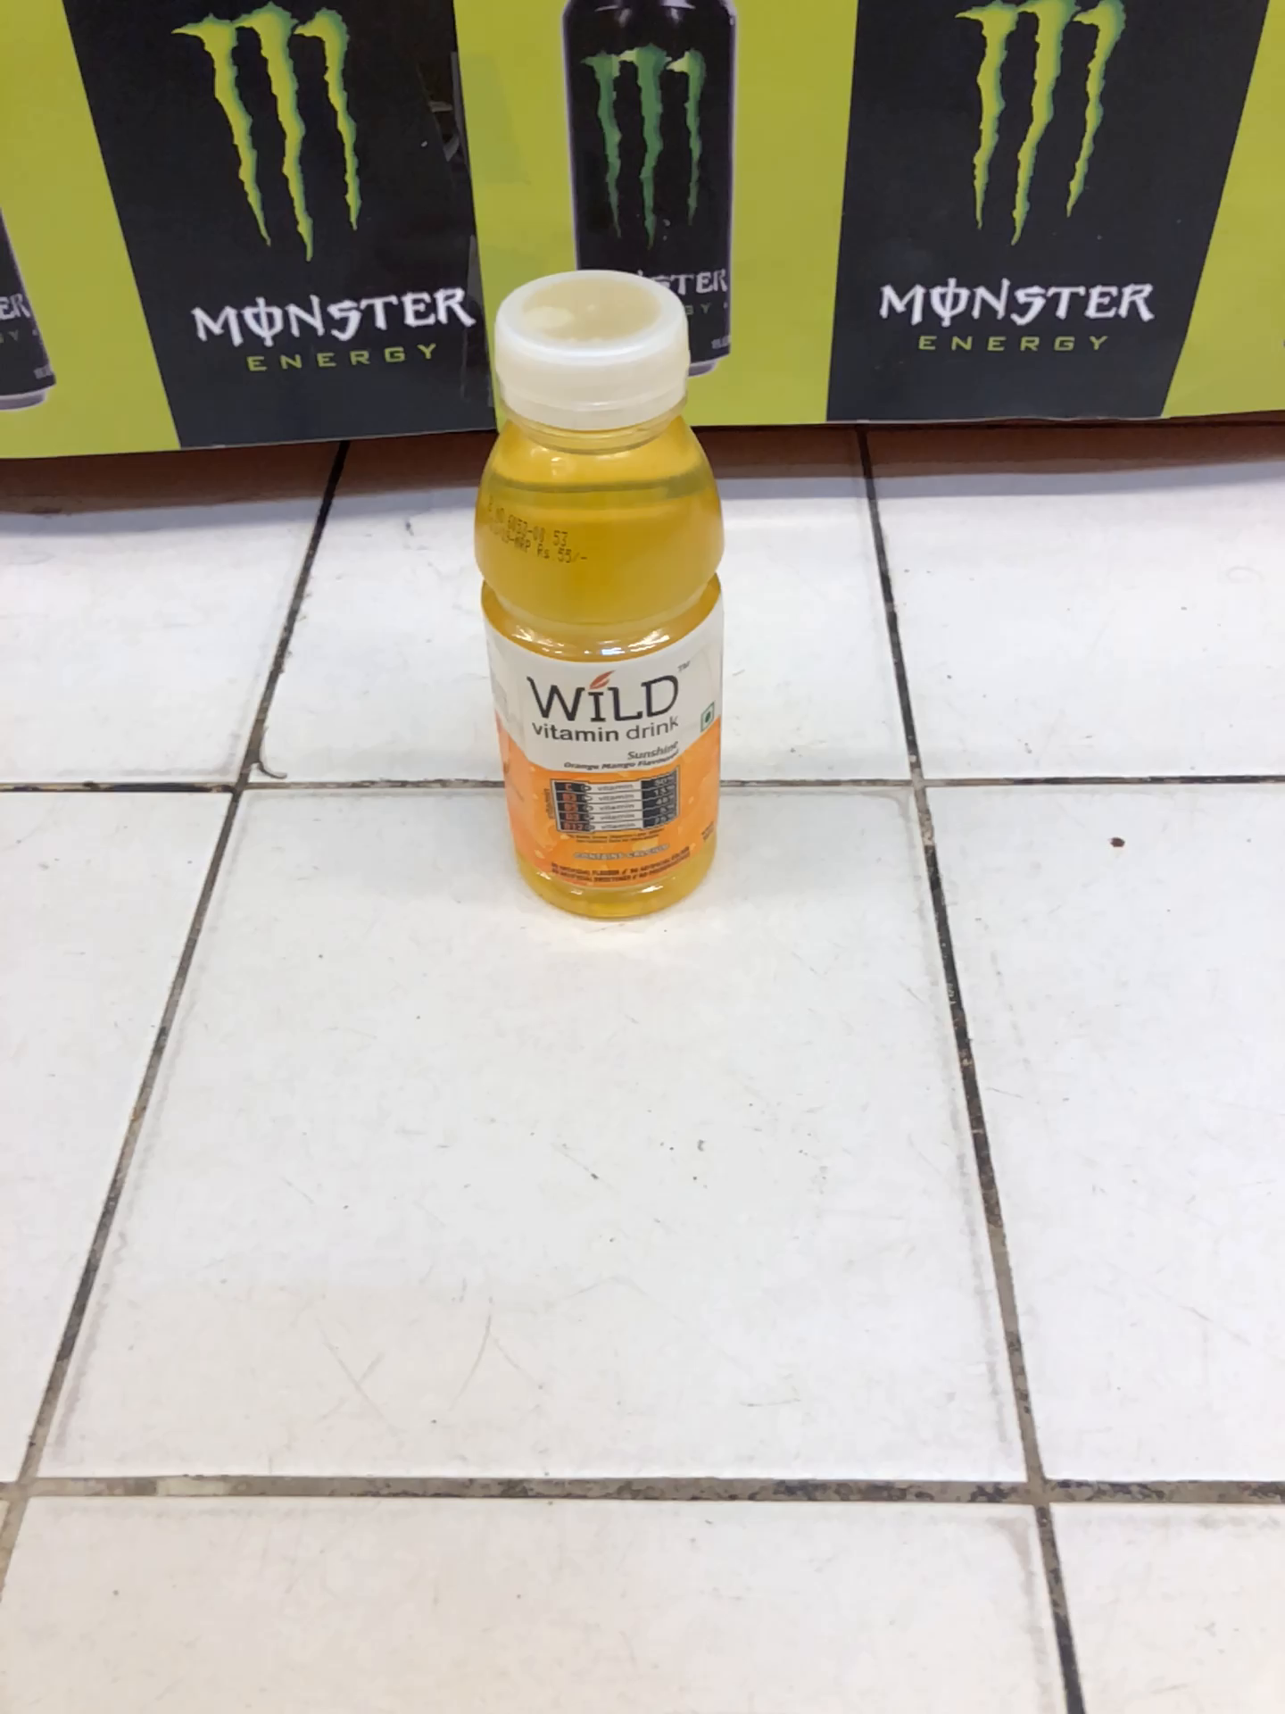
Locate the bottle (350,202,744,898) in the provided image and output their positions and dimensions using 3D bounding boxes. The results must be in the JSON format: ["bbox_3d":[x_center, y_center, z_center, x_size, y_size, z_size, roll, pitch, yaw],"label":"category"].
[{"bbox_3d":[-0.019,-0.065,0.328,0.070,0.139,0.070,0,47,0],"label":"bottle"}]
